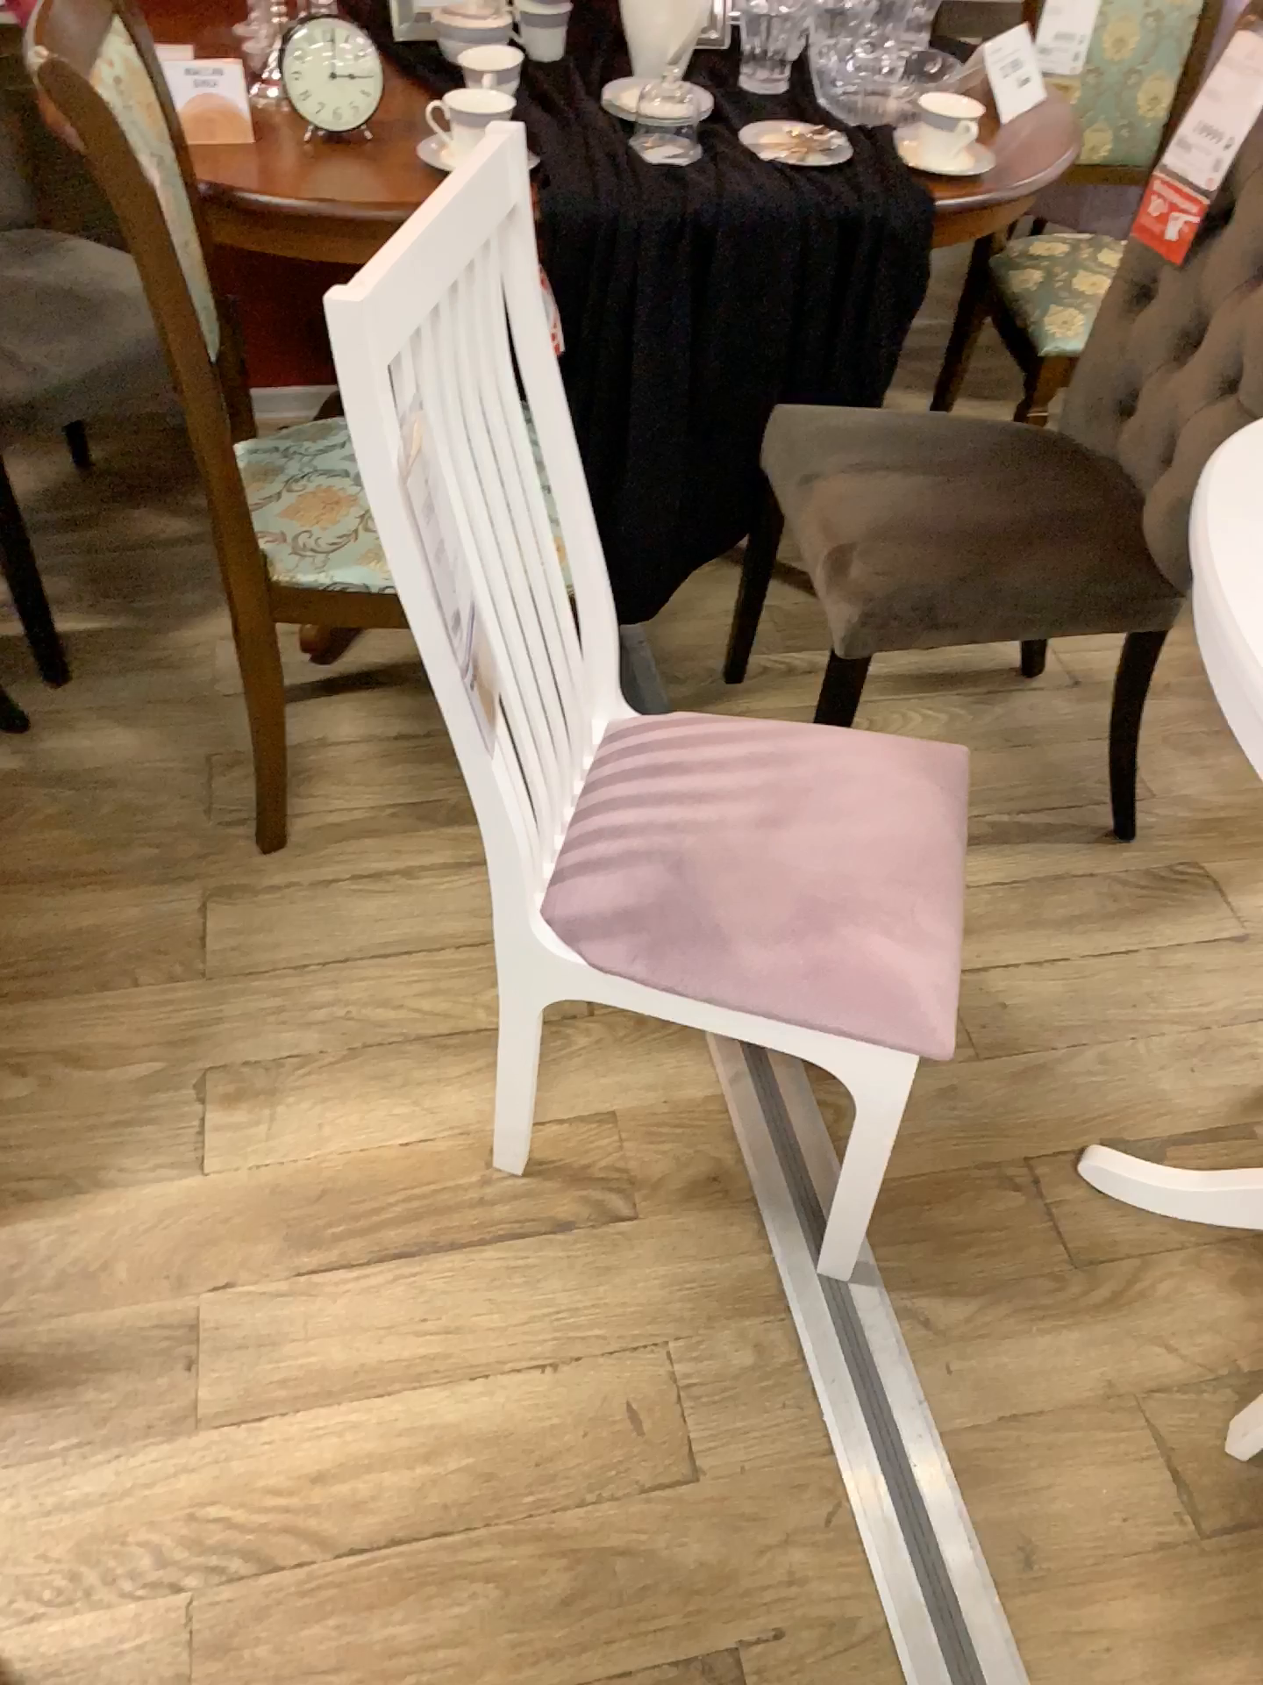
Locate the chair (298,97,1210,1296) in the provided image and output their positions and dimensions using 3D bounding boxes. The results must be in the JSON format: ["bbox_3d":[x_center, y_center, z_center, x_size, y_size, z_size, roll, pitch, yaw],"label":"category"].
[{"bbox_3d":[0.076,-0.059,1.236,0.520,1.003,0.442,11,45,6],"label":"chair"}]
